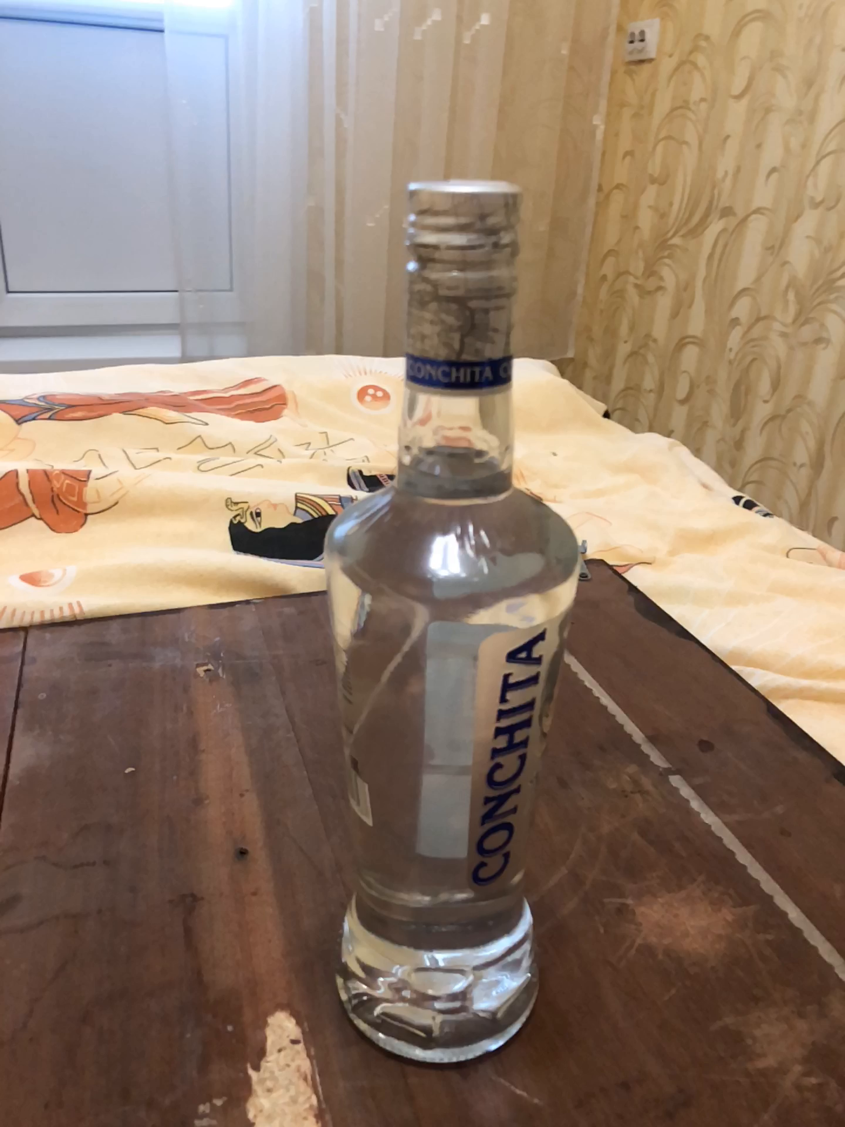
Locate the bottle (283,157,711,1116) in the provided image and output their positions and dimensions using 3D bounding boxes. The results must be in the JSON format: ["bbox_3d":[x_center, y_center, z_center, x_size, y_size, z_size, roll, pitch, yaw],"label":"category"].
[{"bbox_3d":[0.013,0.027,0.283,0.075,0.273,0.077,3,25,-1],"label":"bottle"}]
